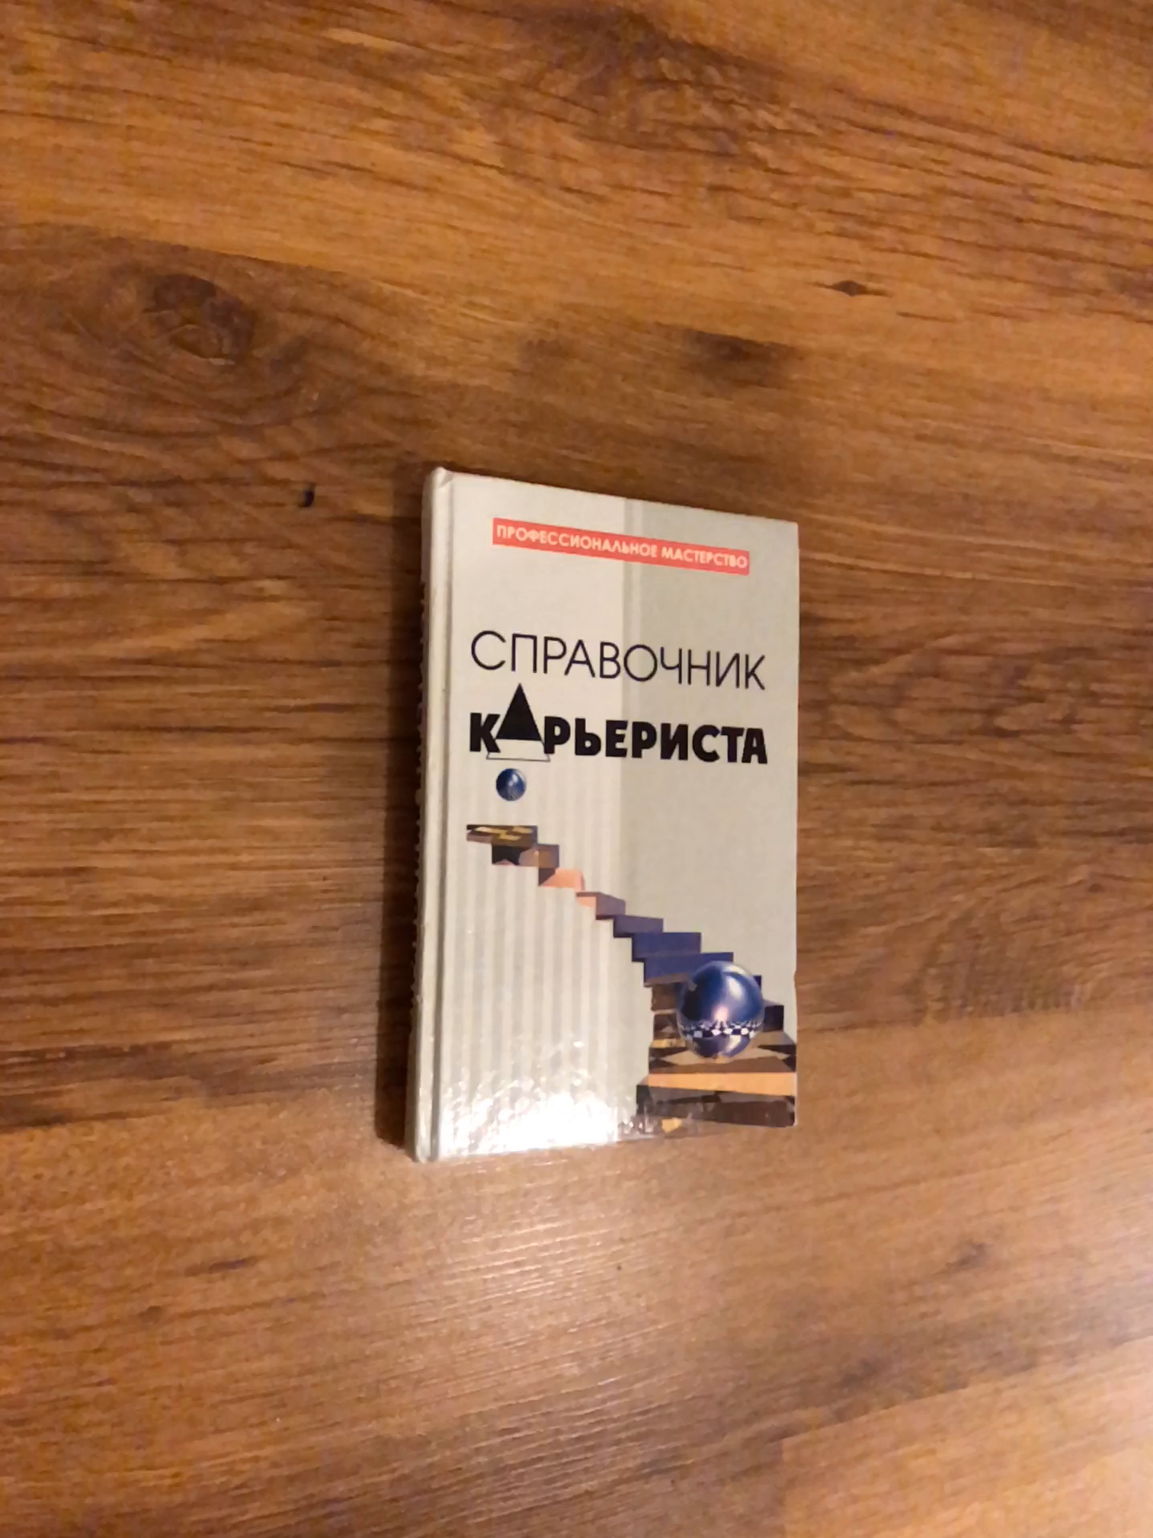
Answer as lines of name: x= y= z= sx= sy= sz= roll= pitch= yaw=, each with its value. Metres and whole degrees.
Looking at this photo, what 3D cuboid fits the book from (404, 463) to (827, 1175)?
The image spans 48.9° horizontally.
book: x=0.016 y=0.015 z=0.405 sx=0.136 sy=0.026 sz=0.204 roll=2 pitch=86 yaw=-25
